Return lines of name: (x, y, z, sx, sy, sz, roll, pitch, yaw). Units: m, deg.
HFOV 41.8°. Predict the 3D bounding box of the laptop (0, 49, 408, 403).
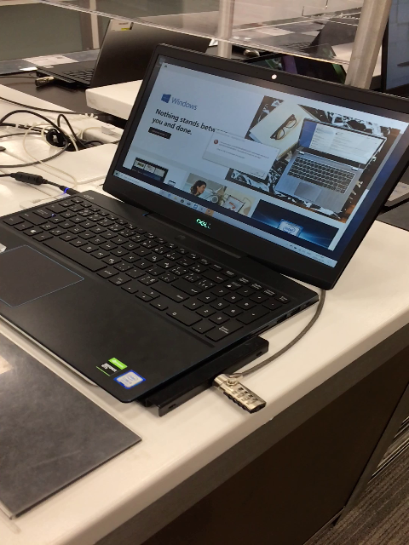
laptop: (-0.068, -0.099, 0.603, 0.387, 0.197, 0.390, 31, 45, 34)
